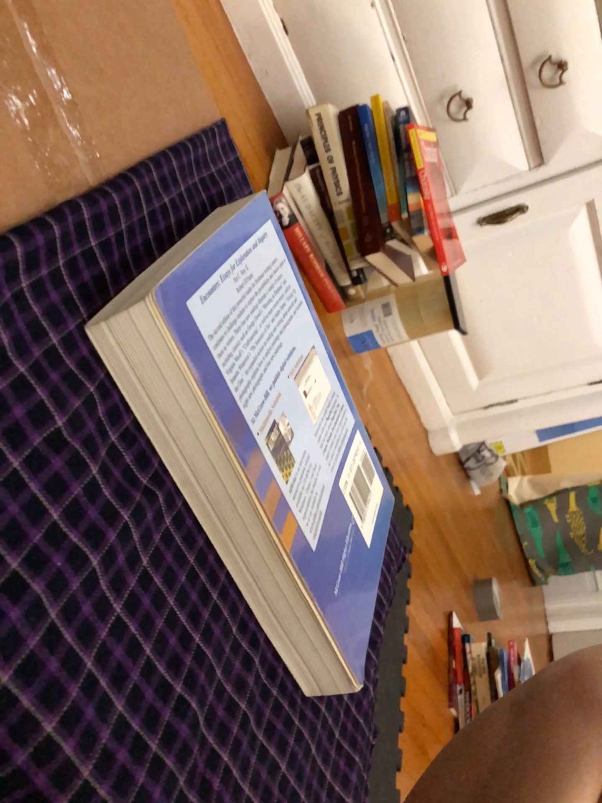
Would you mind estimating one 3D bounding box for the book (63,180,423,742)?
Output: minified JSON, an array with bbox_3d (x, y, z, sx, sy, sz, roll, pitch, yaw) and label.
[{"bbox_3d":[0.000,0.026,0.359,0.240,0.040,0.181,64,27,-25],"label":"book"}]
